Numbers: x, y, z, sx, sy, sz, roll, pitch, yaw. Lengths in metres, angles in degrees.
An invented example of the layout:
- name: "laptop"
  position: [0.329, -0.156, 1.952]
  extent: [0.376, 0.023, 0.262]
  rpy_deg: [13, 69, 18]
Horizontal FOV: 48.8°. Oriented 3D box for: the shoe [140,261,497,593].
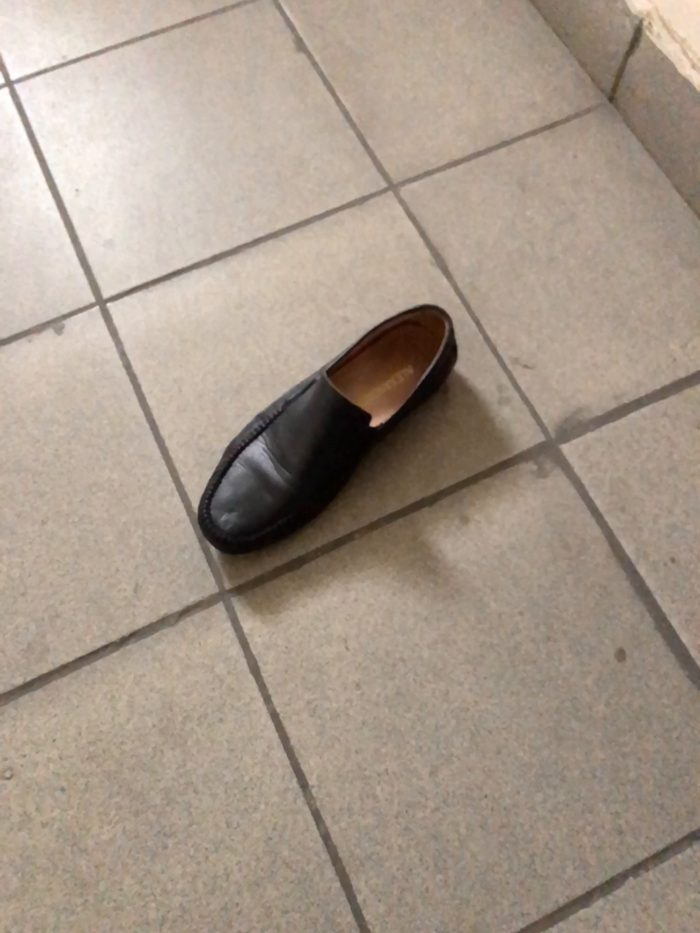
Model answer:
- name: "shoe"
  position: [-0.020, -0.034, 0.630]
  extent: [0.270, 0.080, 0.107]
  rpy_deg: [-40, 73, -13]
